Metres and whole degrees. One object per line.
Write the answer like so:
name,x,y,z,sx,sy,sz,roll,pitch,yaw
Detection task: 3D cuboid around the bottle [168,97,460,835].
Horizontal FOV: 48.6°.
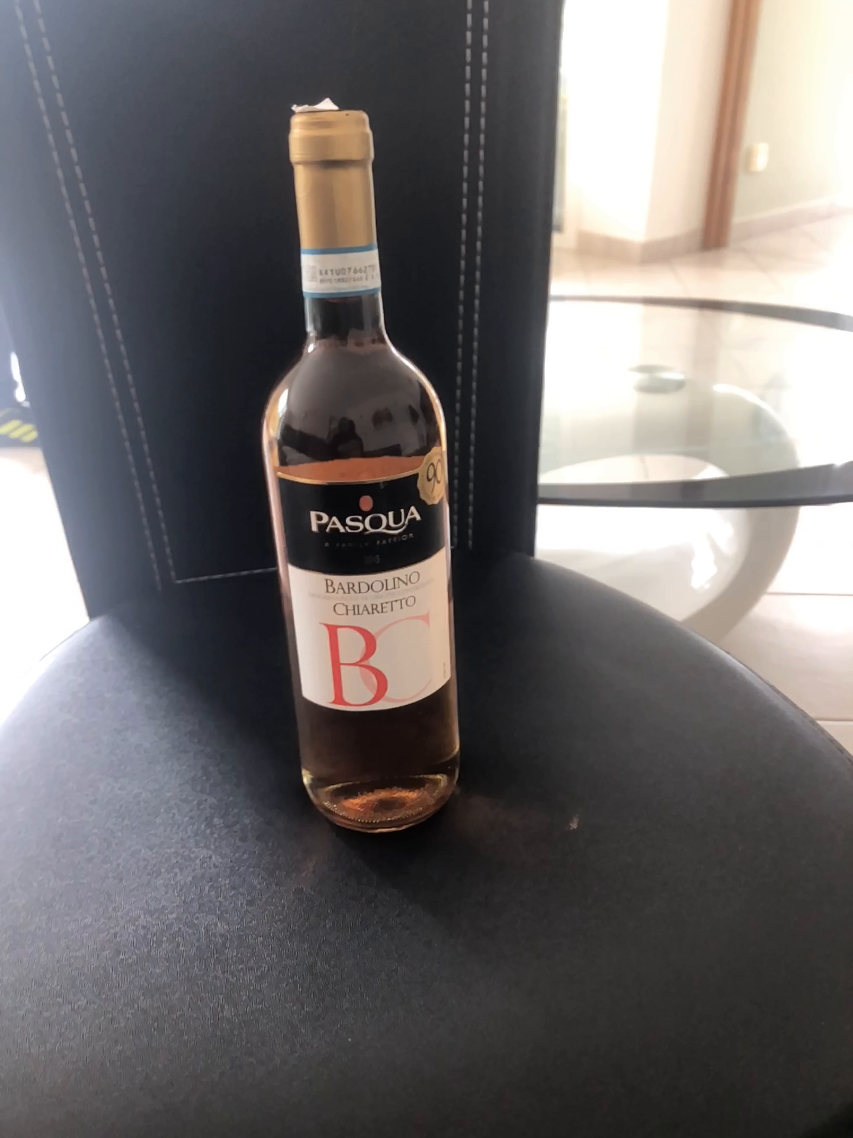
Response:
bottle,-0.029,-0.028,0.373,0.080,0.278,0.081,-1,30,1
